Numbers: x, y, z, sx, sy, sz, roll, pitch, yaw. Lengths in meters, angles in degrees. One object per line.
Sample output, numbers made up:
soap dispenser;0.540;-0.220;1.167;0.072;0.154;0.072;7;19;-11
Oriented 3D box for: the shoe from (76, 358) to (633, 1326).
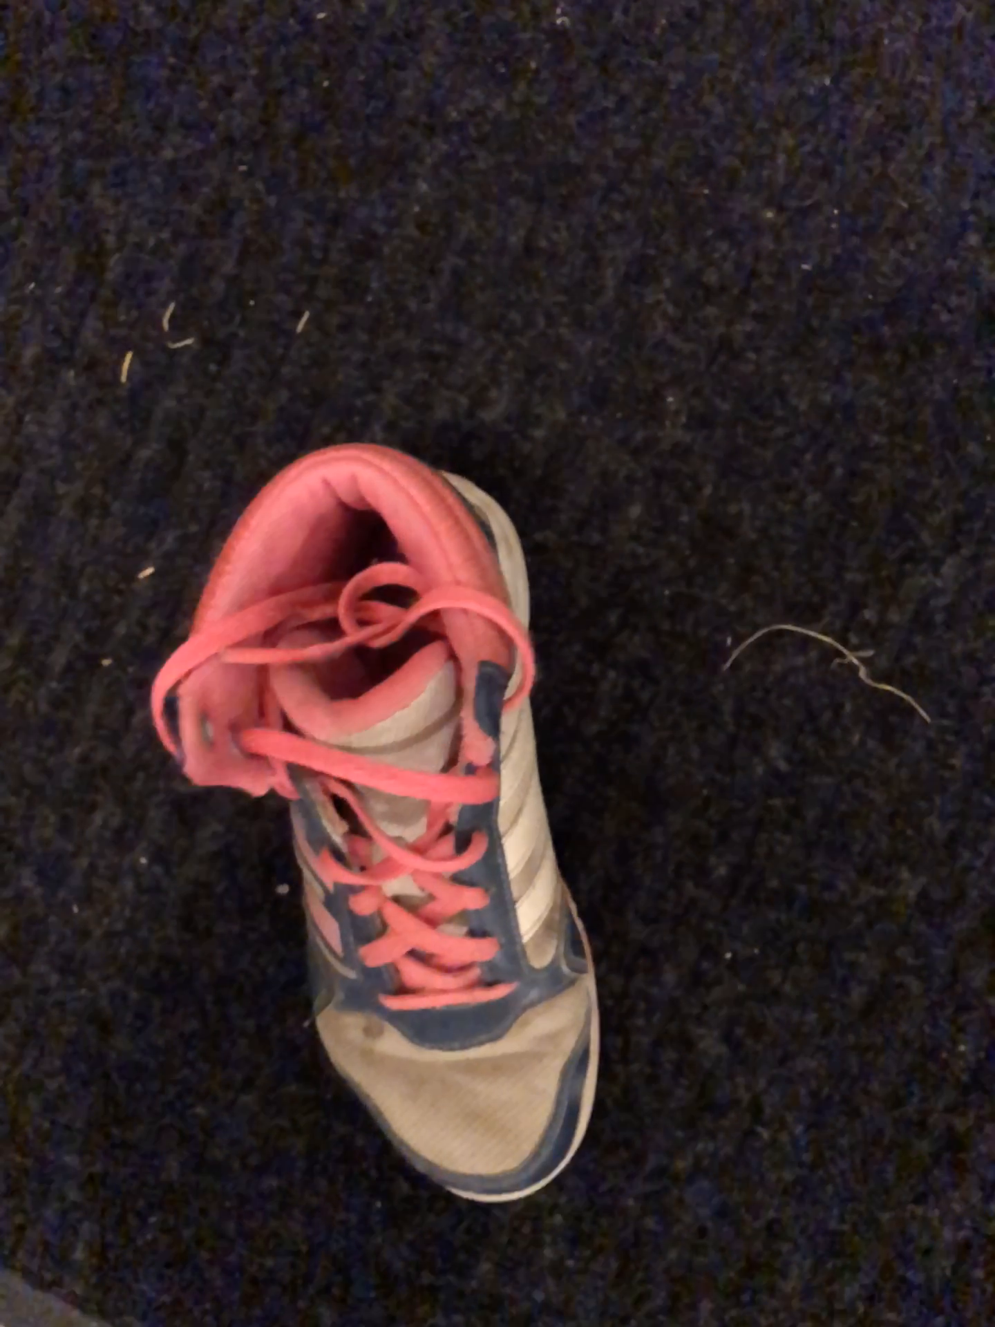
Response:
shoe;-0.026;0.044;0.282;0.090;0.100;0.200;-9;88;8
